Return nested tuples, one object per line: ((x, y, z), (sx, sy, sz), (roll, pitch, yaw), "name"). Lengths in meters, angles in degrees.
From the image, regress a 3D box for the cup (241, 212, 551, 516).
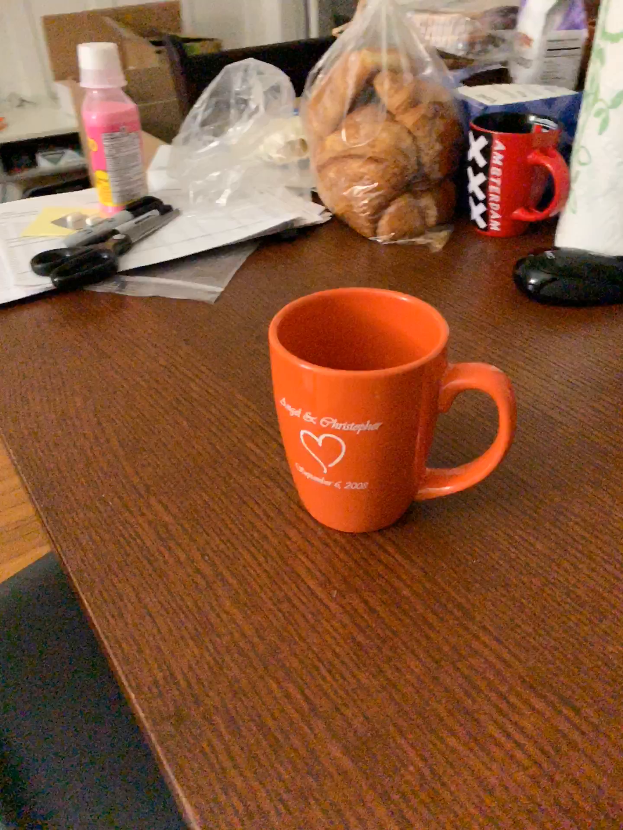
((0.046, -0.032, 0.338), (0.130, 0.109, 0.100), (8, 38, 13), "cup")
